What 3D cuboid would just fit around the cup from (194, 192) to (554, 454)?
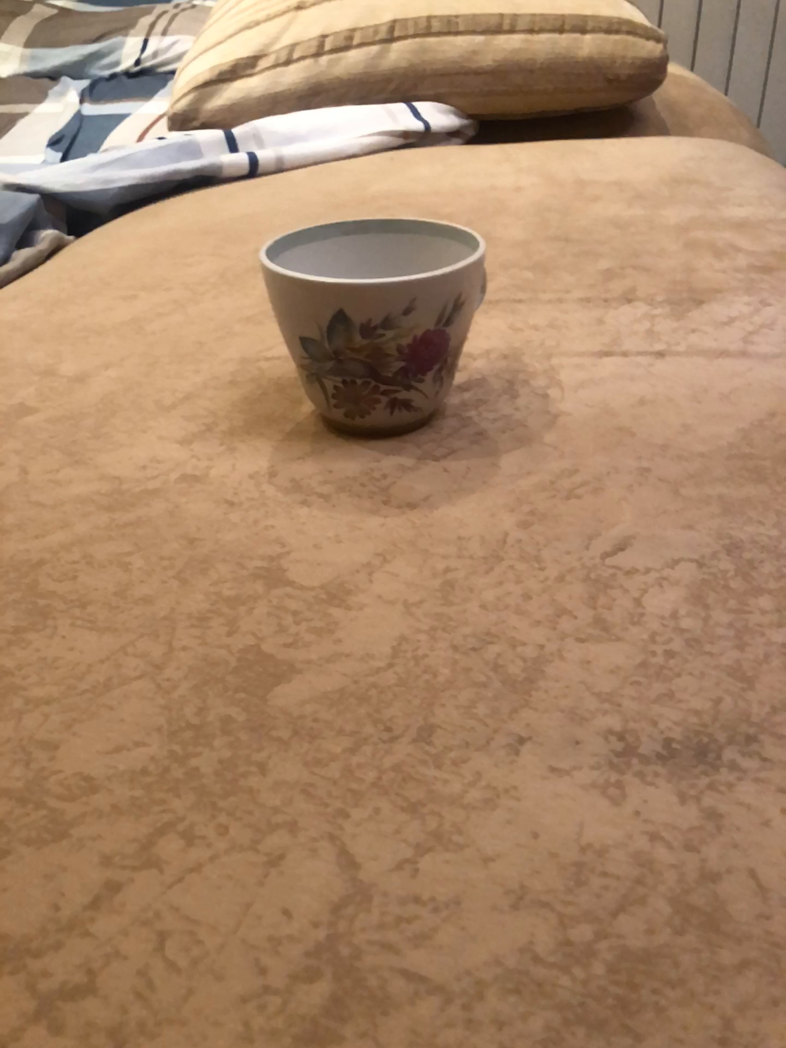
[{"bbox_3d":[-0.004,-0.089,0.356,0.090,0.060,0.110,24,41,35],"label":"cup"}]
